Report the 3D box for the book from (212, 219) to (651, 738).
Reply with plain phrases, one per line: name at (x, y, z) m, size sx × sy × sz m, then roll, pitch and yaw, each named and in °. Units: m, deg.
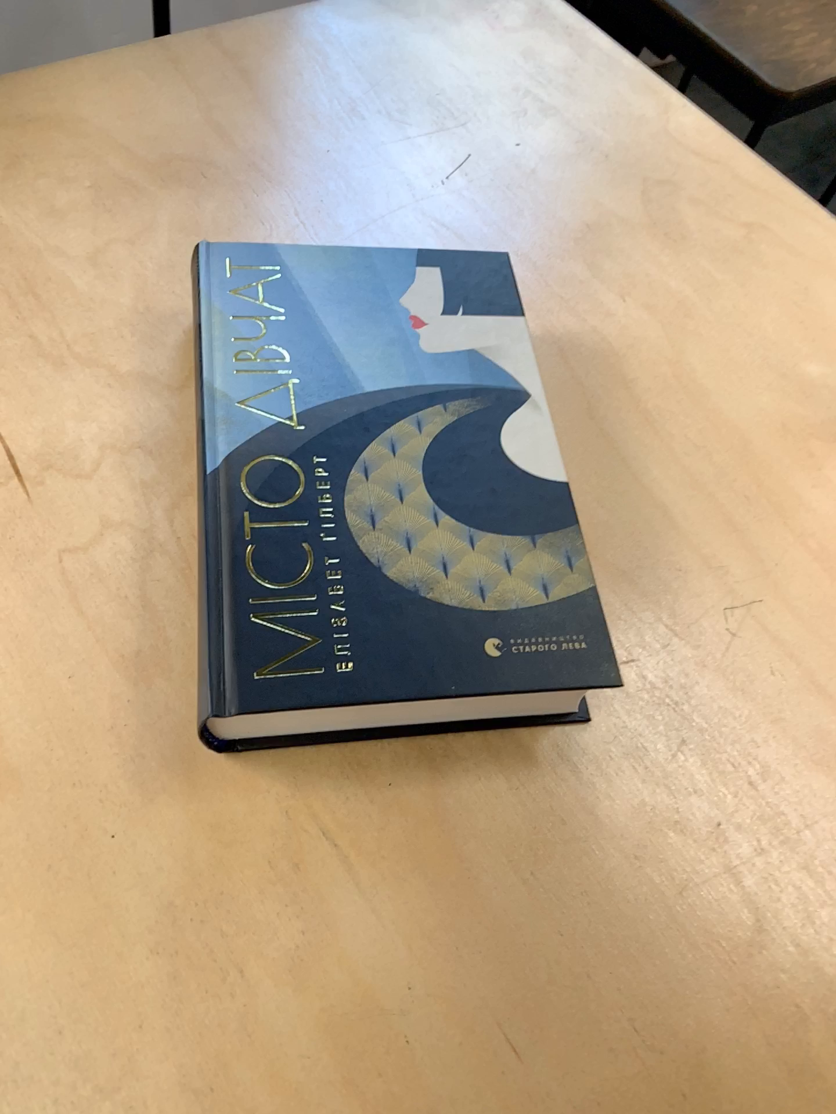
book at (-0.007, -0.039, 0.327) m, size 0.134 × 0.043 × 0.197 m, roll -2°, pitch 62°, yaw -11°
